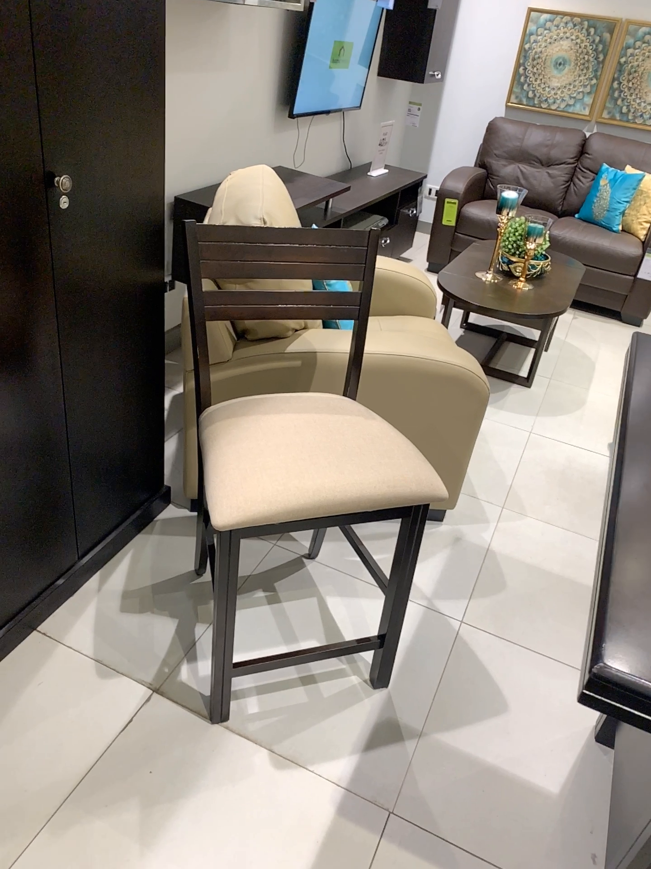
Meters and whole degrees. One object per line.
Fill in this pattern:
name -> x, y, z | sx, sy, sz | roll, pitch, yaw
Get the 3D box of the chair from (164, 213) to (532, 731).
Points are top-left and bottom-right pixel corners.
chair -> -0.053, 0.061, 1.487 | 0.520, 0.916, 0.592 | -5, 34, -20
